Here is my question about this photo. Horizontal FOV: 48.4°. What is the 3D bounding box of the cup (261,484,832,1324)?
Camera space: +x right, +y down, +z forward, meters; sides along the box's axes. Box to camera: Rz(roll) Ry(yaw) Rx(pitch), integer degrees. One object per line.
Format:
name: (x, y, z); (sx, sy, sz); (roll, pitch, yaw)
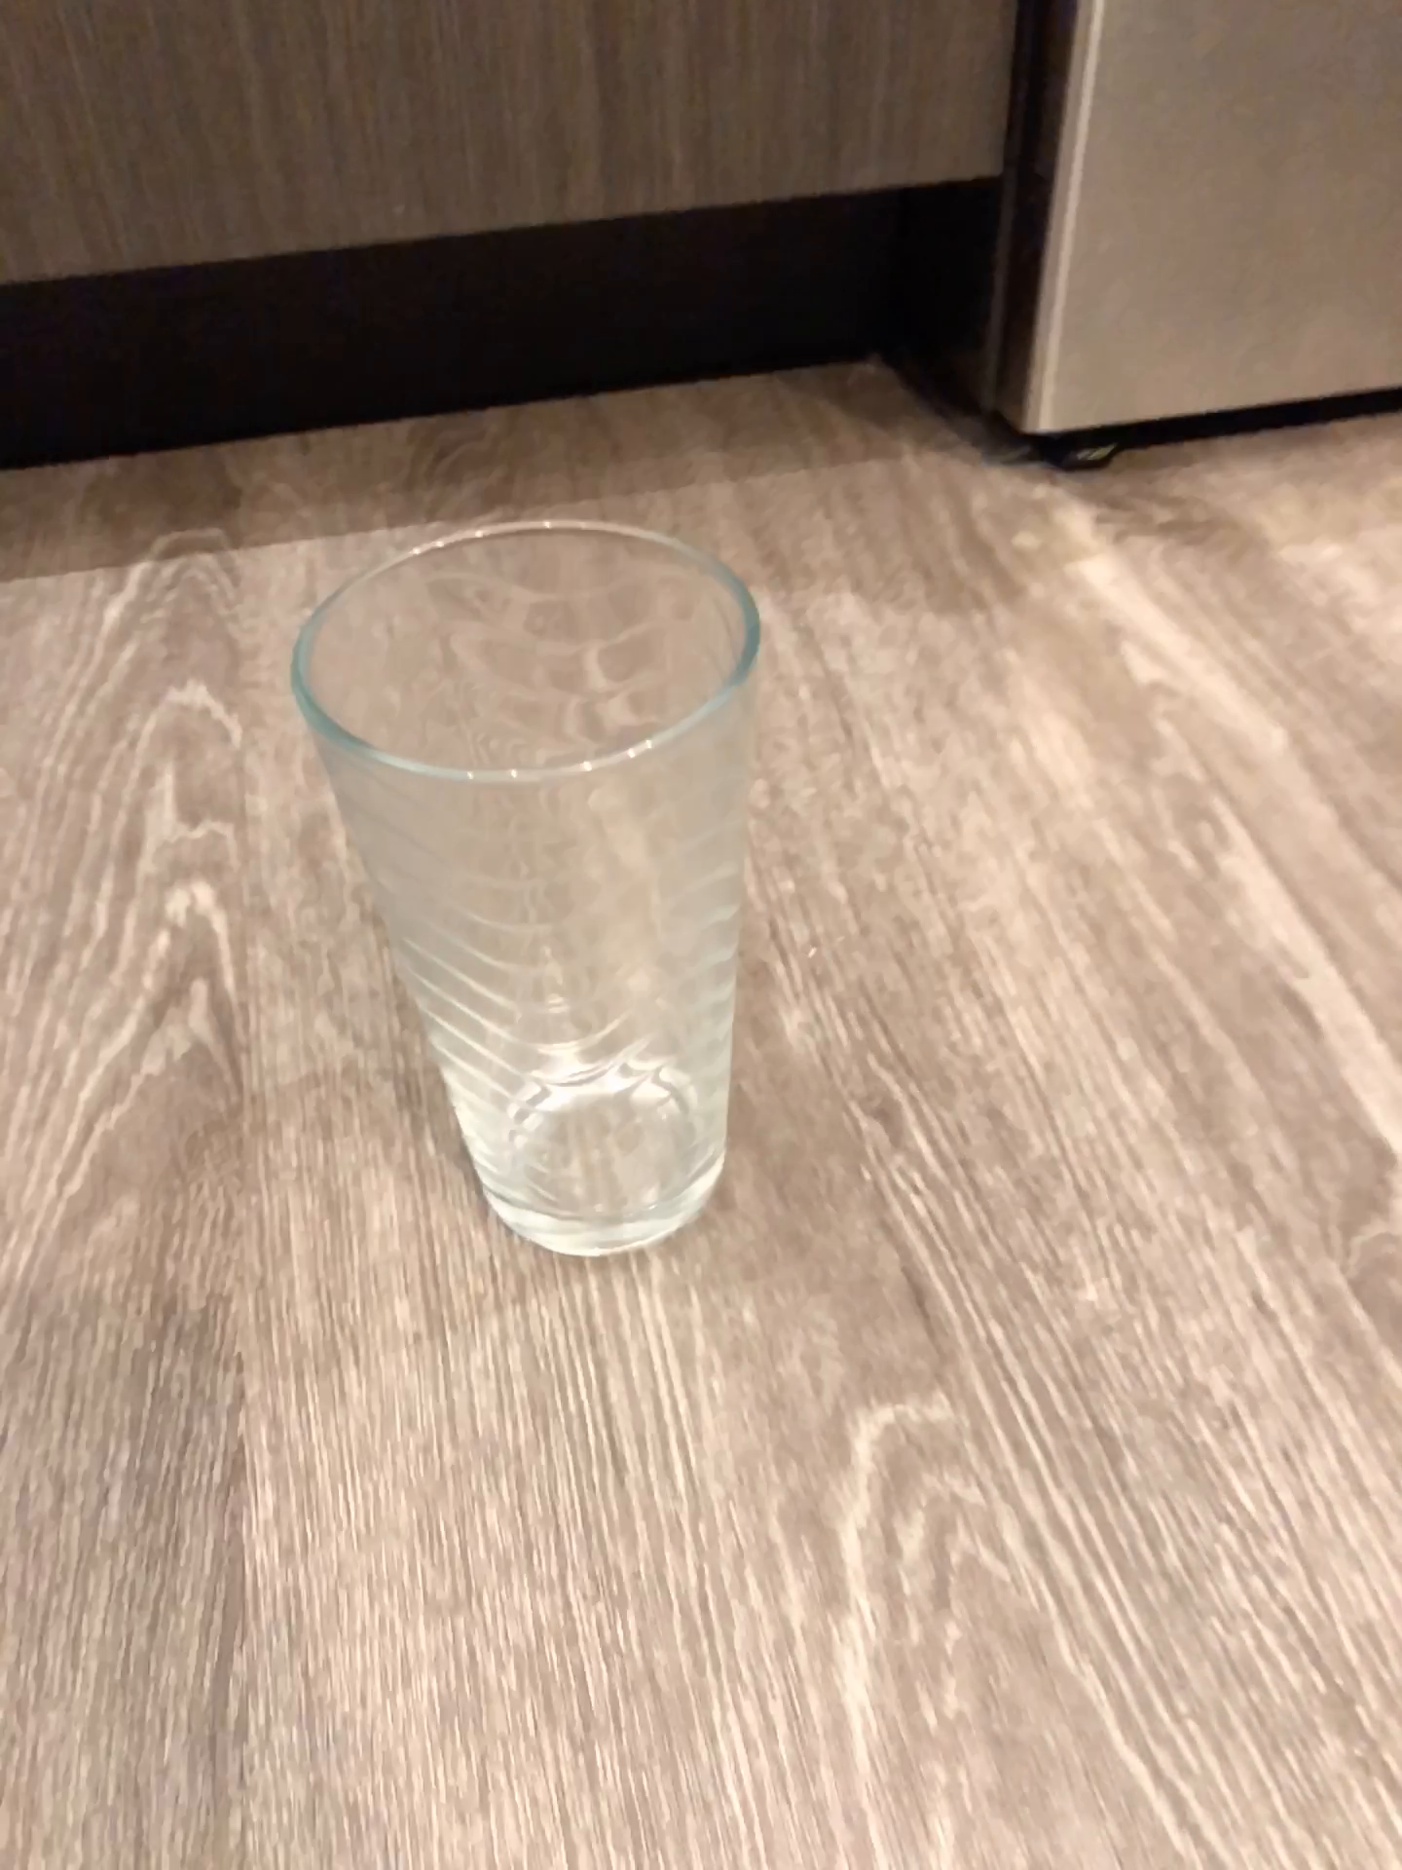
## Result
cup: (-0.030, -0.004, 0.331); (0.090, 0.139, 0.090); (-1, 43, 1)
